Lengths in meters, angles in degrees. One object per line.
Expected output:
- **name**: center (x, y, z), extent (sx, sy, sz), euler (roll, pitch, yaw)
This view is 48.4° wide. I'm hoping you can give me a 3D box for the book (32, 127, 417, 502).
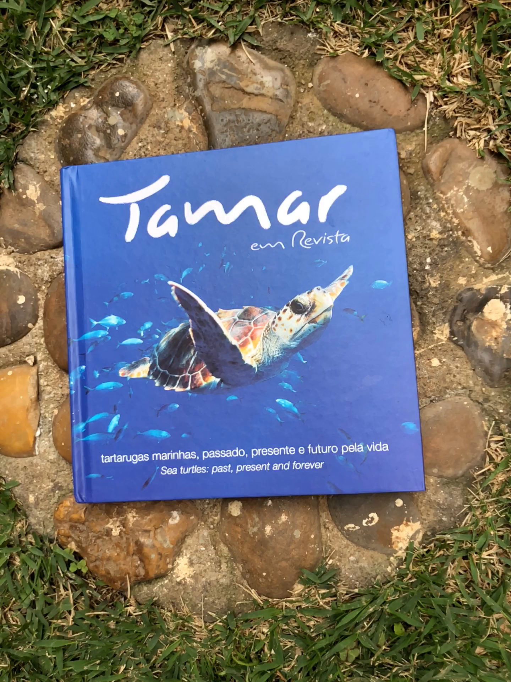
- **book**: center (-0.019, -0.009, 0.279), extent (0.179, 0.020, 0.166), euler (-3, 86, 9)
